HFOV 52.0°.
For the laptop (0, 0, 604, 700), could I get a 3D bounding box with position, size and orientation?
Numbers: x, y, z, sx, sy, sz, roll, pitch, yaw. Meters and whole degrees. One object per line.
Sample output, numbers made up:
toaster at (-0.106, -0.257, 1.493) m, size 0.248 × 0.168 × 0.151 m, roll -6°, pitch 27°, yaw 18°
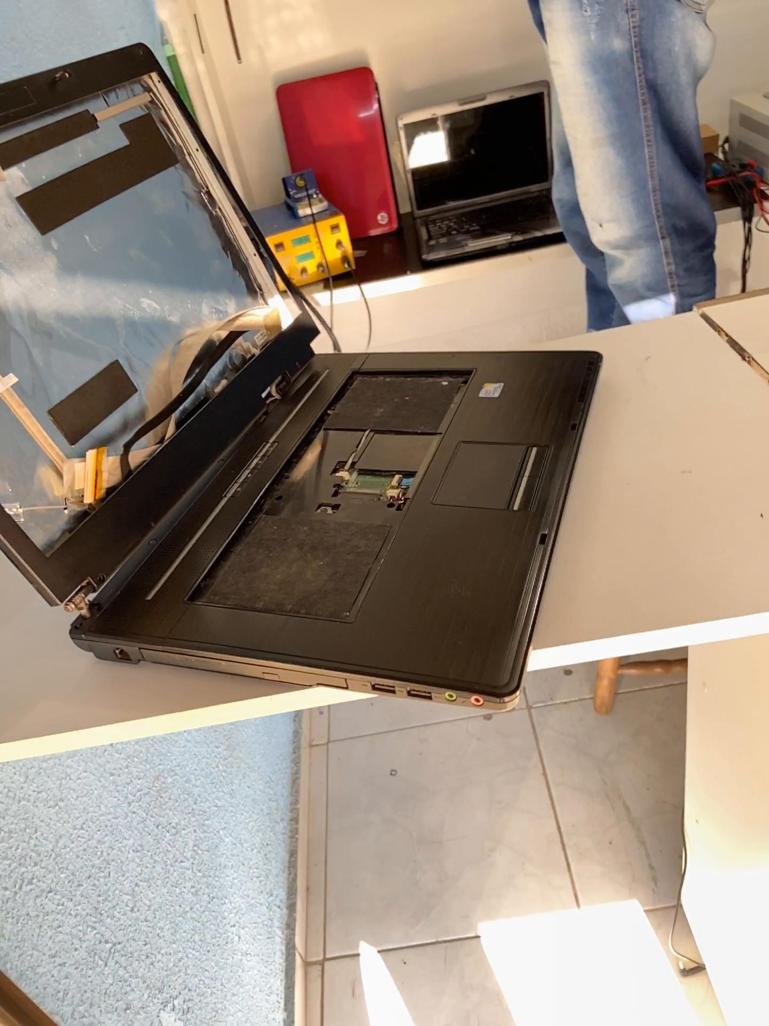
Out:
laptop at (-0.072, -0.139, 0.495) m, size 0.350 × 0.261 × 0.354 m, roll 4°, pitch 39°, yaw 22°
